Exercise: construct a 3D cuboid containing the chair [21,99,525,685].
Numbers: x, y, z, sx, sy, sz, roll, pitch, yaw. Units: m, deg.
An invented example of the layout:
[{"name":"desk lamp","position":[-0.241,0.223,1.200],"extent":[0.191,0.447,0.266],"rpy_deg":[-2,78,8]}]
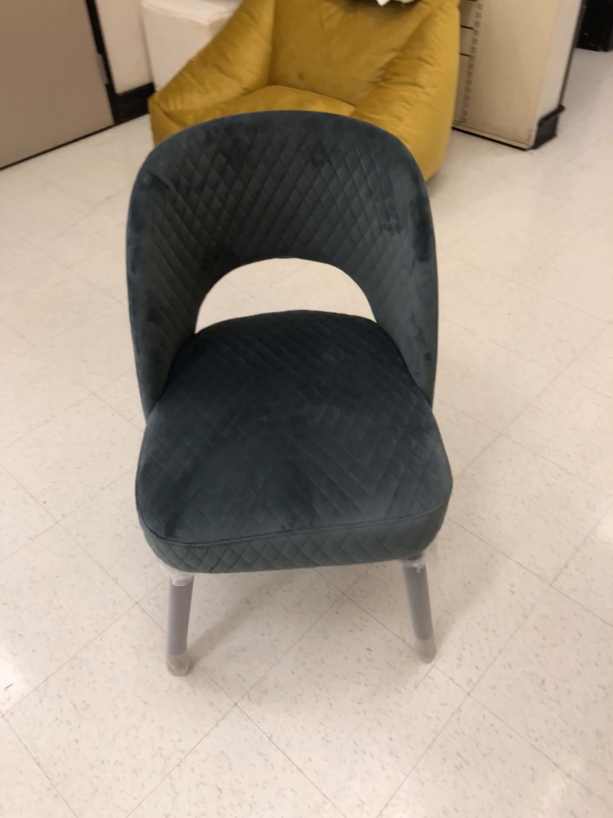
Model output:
[{"name":"chair","position":[-0.036,0.006,1.217],"extent":[0.531,0.857,0.582],"rpy_deg":[-4,44,-1]}]
